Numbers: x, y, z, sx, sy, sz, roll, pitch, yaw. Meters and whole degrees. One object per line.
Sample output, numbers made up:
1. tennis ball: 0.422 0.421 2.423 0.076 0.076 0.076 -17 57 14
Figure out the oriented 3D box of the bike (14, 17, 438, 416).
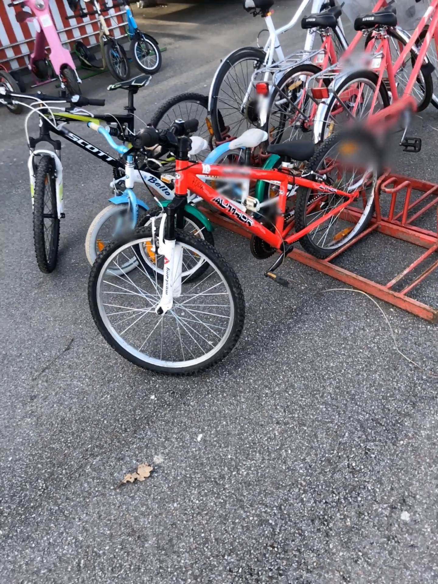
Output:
1. bike: 0.157 -0.348 1.863 1.445 0.908 0.553 -28 42 -18
